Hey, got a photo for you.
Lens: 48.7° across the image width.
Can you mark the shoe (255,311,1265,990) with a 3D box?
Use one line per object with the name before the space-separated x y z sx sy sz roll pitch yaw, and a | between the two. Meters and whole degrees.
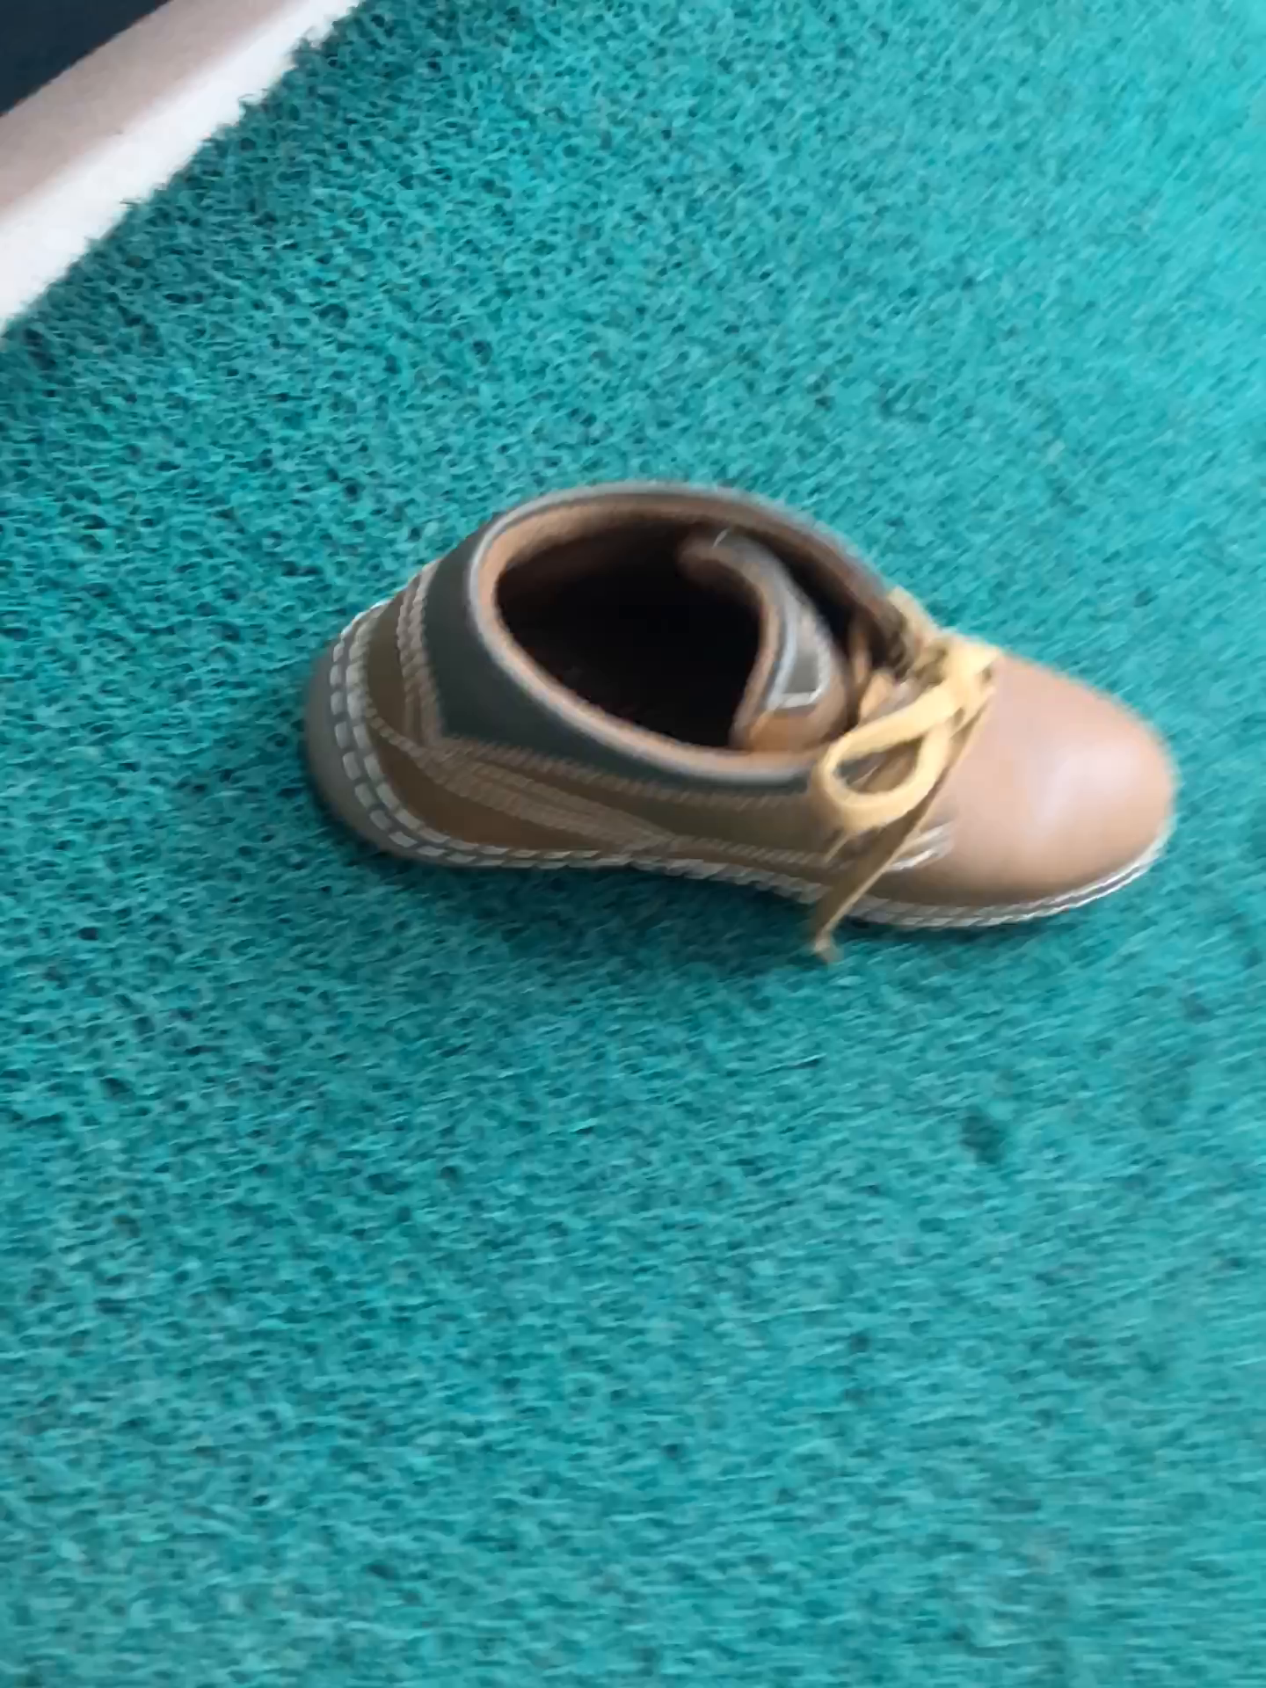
shoe | 0.055 -0.034 0.366 0.281 0.080 0.100 9 69 -20
